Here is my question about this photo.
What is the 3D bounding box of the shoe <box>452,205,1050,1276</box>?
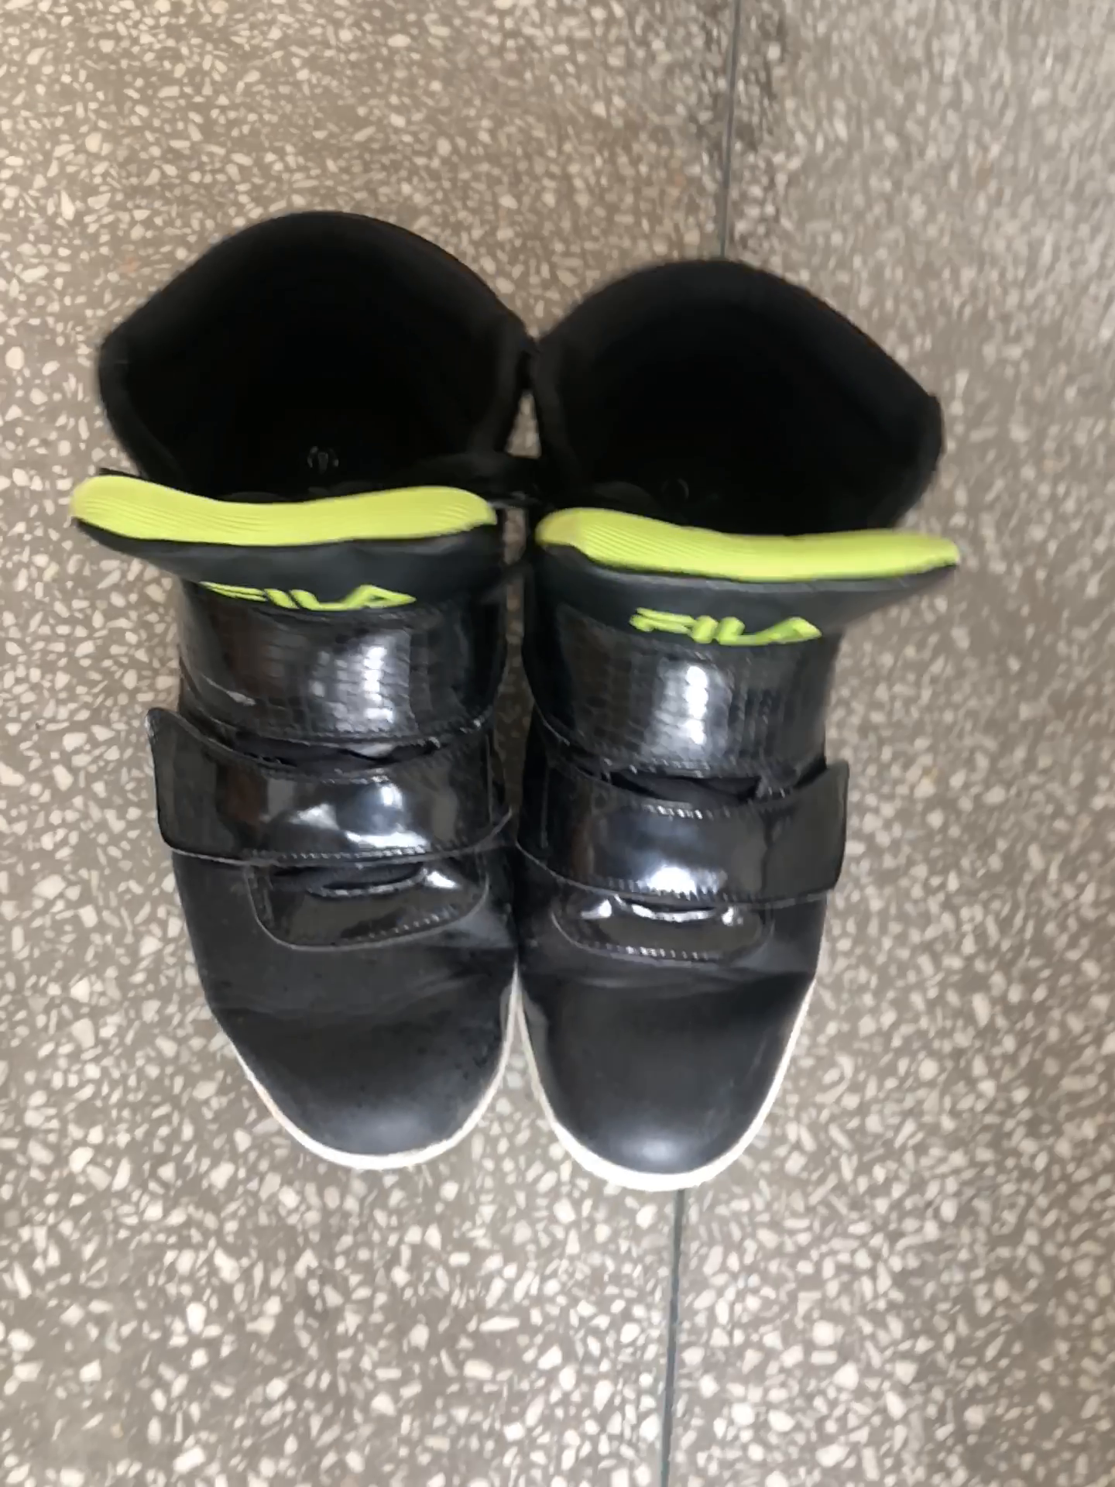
[{"bbox_3d":[0.038,0.007,0.357,0.120,0.148,0.250,3,74,-5],"label":"shoe"}]

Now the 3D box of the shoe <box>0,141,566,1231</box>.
[{"bbox_3d":[-0.077,-0.012,0.370,0.120,0.148,0.270,-3,74,-7],"label":"shoe"}]
